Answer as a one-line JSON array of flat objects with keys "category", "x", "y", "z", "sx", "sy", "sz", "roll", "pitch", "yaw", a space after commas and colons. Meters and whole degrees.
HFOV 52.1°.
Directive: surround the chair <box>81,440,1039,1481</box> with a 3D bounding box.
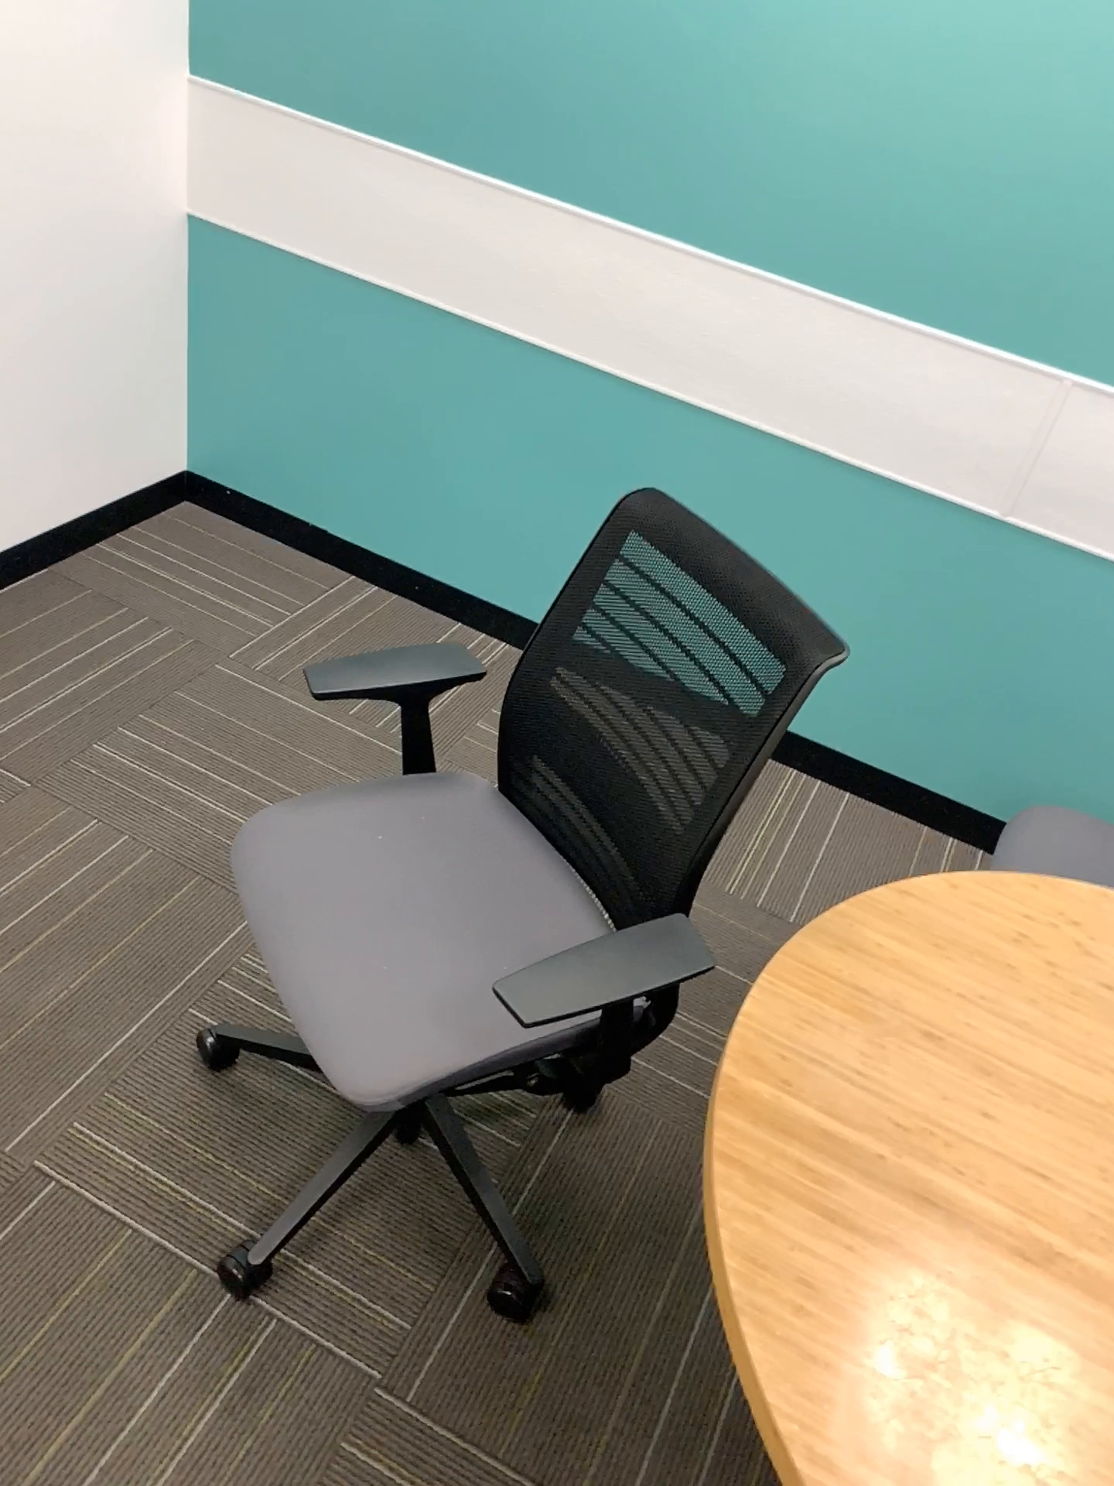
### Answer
[{"category": "chair", "x": -0.088, "y": 0.229, "z": 1.579, "sx": 0.842, "sy": 0.984, "sz": 0.733, "roll": -15, "pitch": 45, "yaw": -34}]
